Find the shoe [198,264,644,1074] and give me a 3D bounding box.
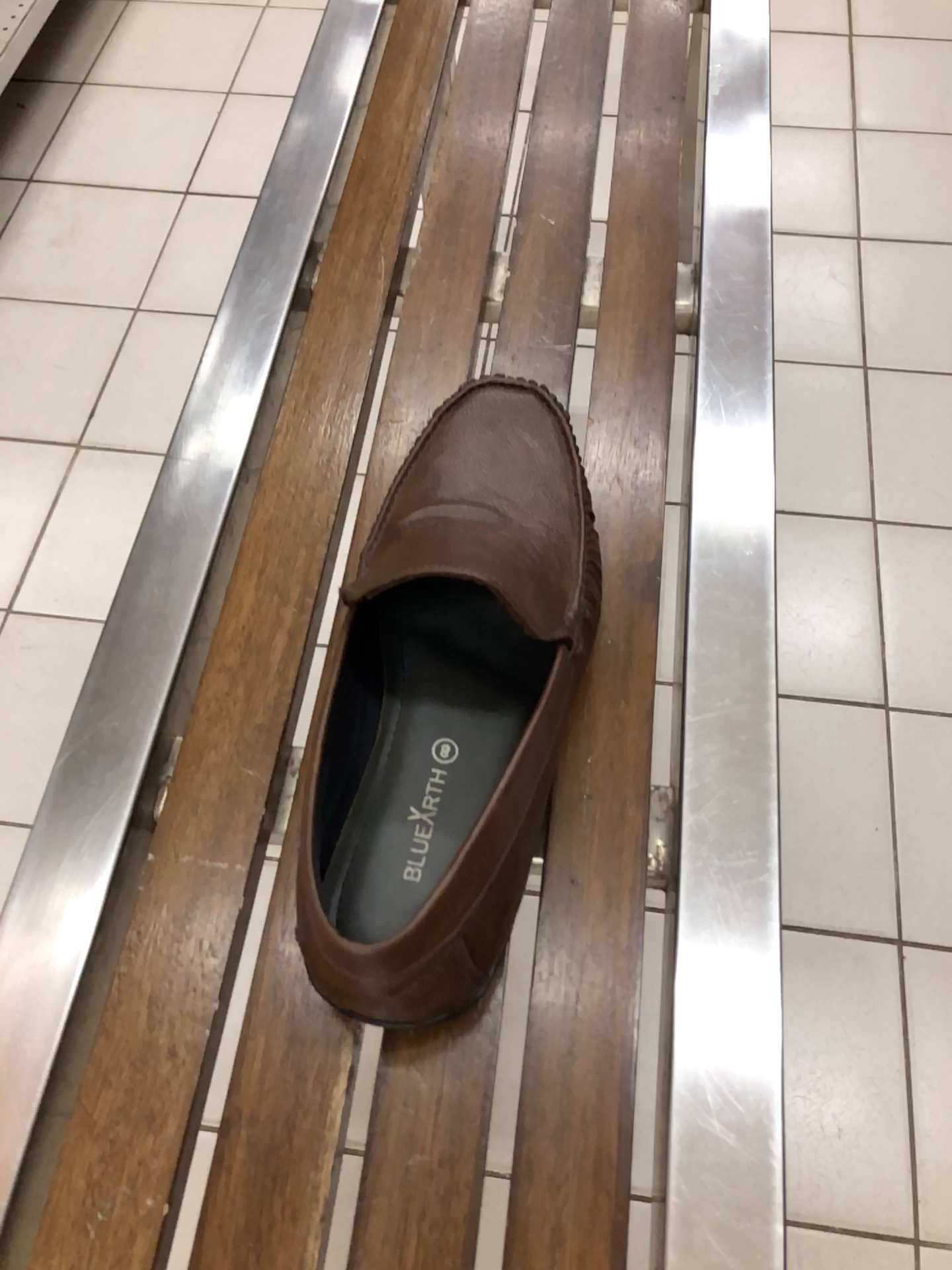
[{"bbox_3d":[-0.003,-0.002,0.415,0.104,0.093,0.302,7,60,7],"label":"shoe"}]
